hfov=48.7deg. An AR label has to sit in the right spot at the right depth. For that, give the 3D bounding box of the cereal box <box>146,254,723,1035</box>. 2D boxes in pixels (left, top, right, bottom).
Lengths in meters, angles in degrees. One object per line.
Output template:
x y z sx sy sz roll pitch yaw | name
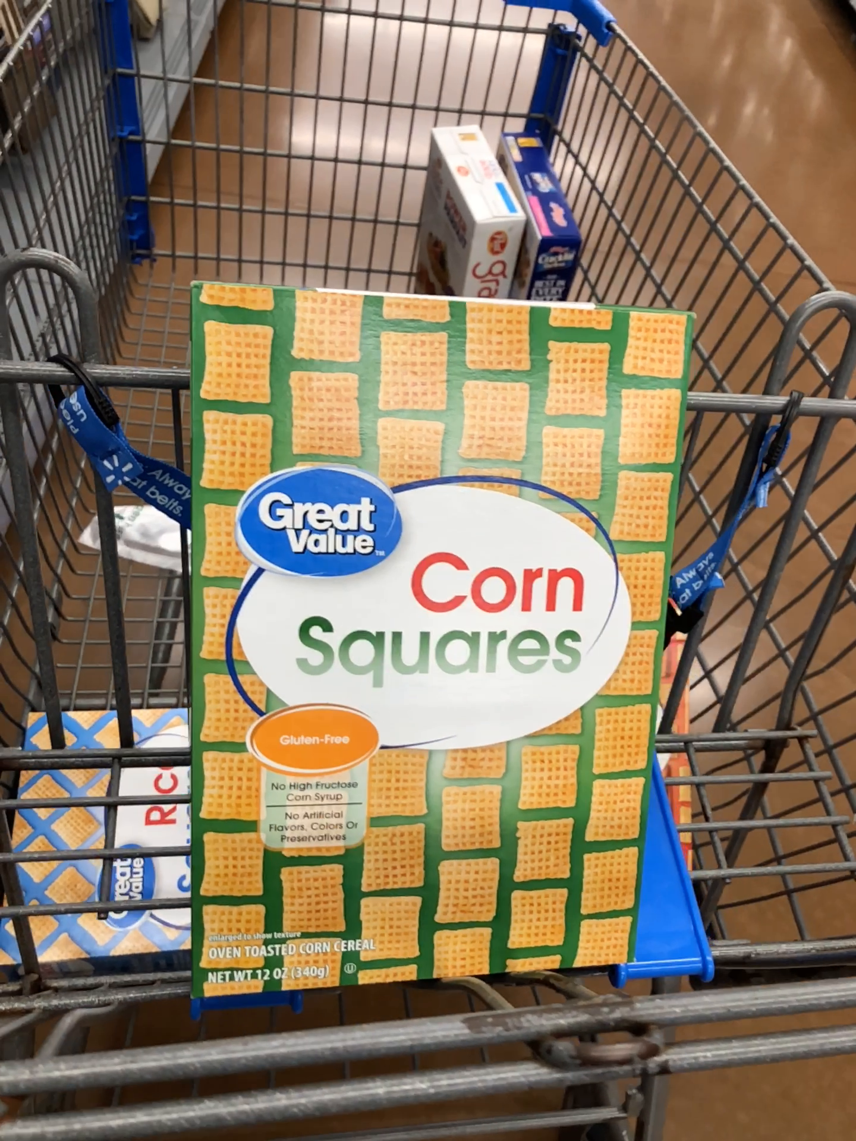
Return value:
-0.002 0.029 0.381 0.200 0.280 0.070 0 11 -11 | cereal box
